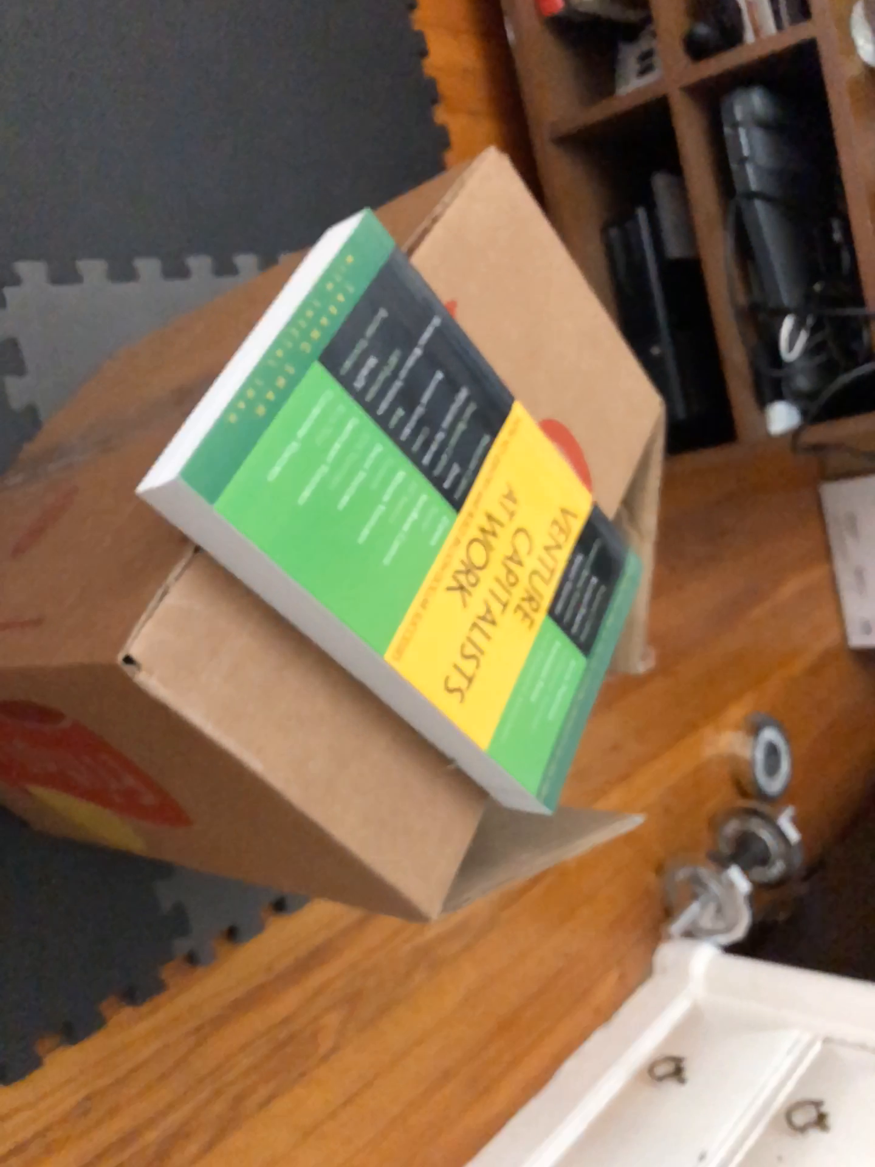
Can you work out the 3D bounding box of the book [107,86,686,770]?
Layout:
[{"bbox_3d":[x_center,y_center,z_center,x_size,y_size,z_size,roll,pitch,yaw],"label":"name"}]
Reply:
[{"bbox_3d":[0.009,-0.056,0.434,0.261,0.040,0.161,45,55,-30],"label":"book"}]
